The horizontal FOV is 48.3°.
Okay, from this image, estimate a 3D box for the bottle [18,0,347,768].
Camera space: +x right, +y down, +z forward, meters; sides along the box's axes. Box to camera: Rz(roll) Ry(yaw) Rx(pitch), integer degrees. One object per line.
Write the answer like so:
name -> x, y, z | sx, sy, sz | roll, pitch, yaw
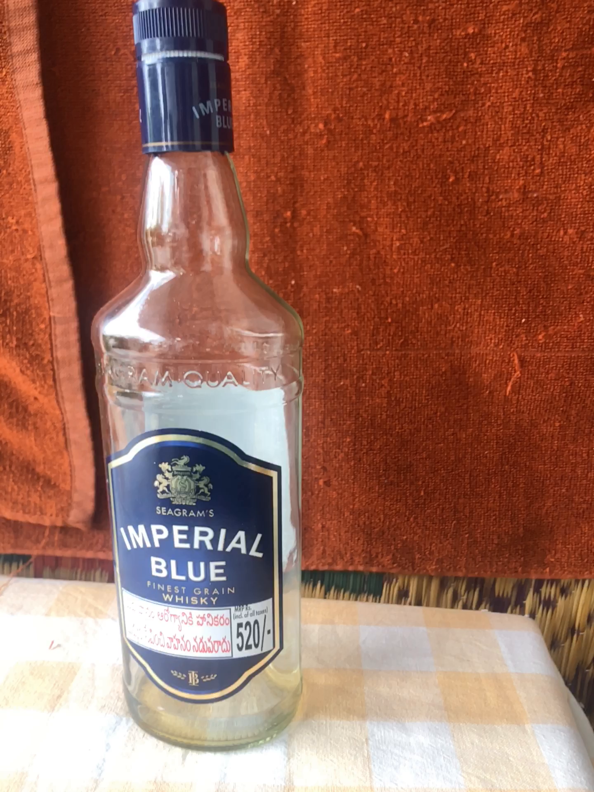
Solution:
bottle -> -0.035, -0.007, 0.268 | 0.090, 0.309, 0.070 | 4, 18, 9
